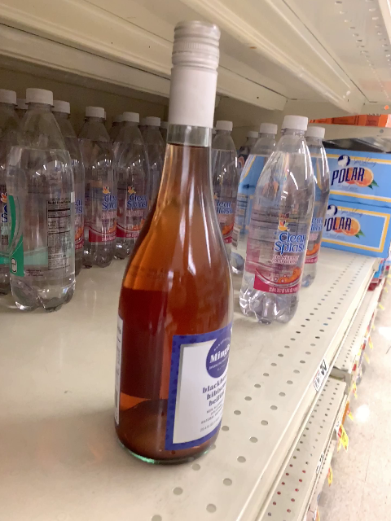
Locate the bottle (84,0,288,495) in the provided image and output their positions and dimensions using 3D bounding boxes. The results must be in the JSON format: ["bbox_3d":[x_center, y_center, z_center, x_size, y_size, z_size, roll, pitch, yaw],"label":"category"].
[{"bbox_3d":[-0.013,-0.004,0.284,0.080,0.299,0.090,16,19,32],"label":"bottle"}]
